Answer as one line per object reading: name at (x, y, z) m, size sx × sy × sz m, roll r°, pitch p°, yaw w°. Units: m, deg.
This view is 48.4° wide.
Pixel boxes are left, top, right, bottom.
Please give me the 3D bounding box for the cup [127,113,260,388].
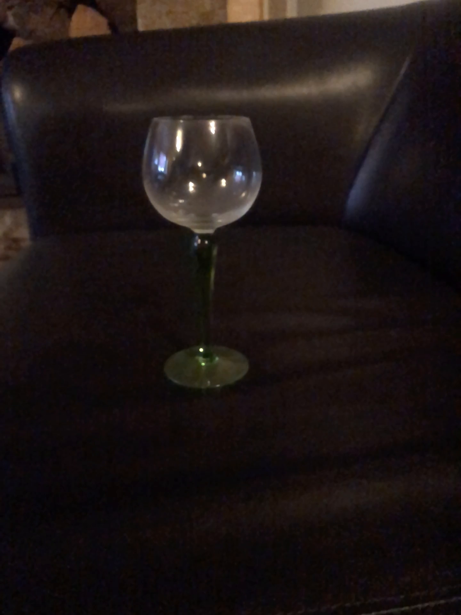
cup at (-0.022, -0.043, 0.376) m, size 0.080 × 0.185 × 0.080 m, roll 0°, pitch 21°, yaw 0°
